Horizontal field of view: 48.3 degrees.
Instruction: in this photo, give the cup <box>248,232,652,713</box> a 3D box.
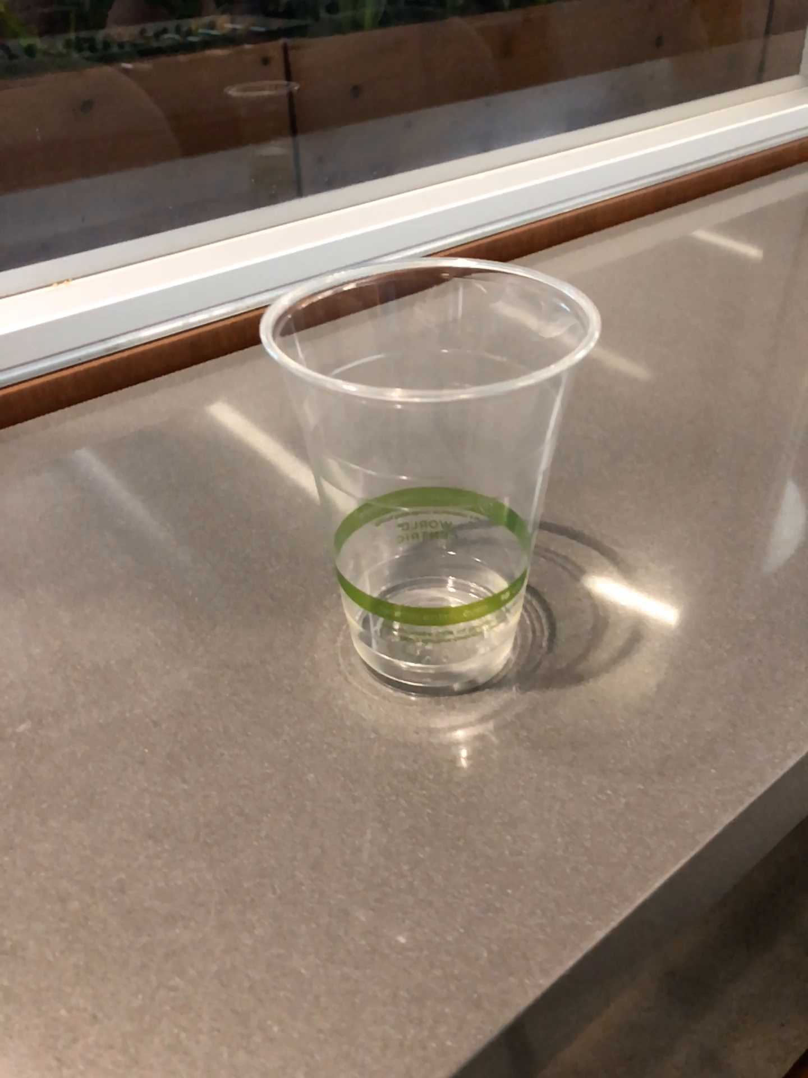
[{"bbox_3d":[0.008,-0.025,0.292,0.100,0.109,0.101,-2,35,1],"label":"cup"}]
